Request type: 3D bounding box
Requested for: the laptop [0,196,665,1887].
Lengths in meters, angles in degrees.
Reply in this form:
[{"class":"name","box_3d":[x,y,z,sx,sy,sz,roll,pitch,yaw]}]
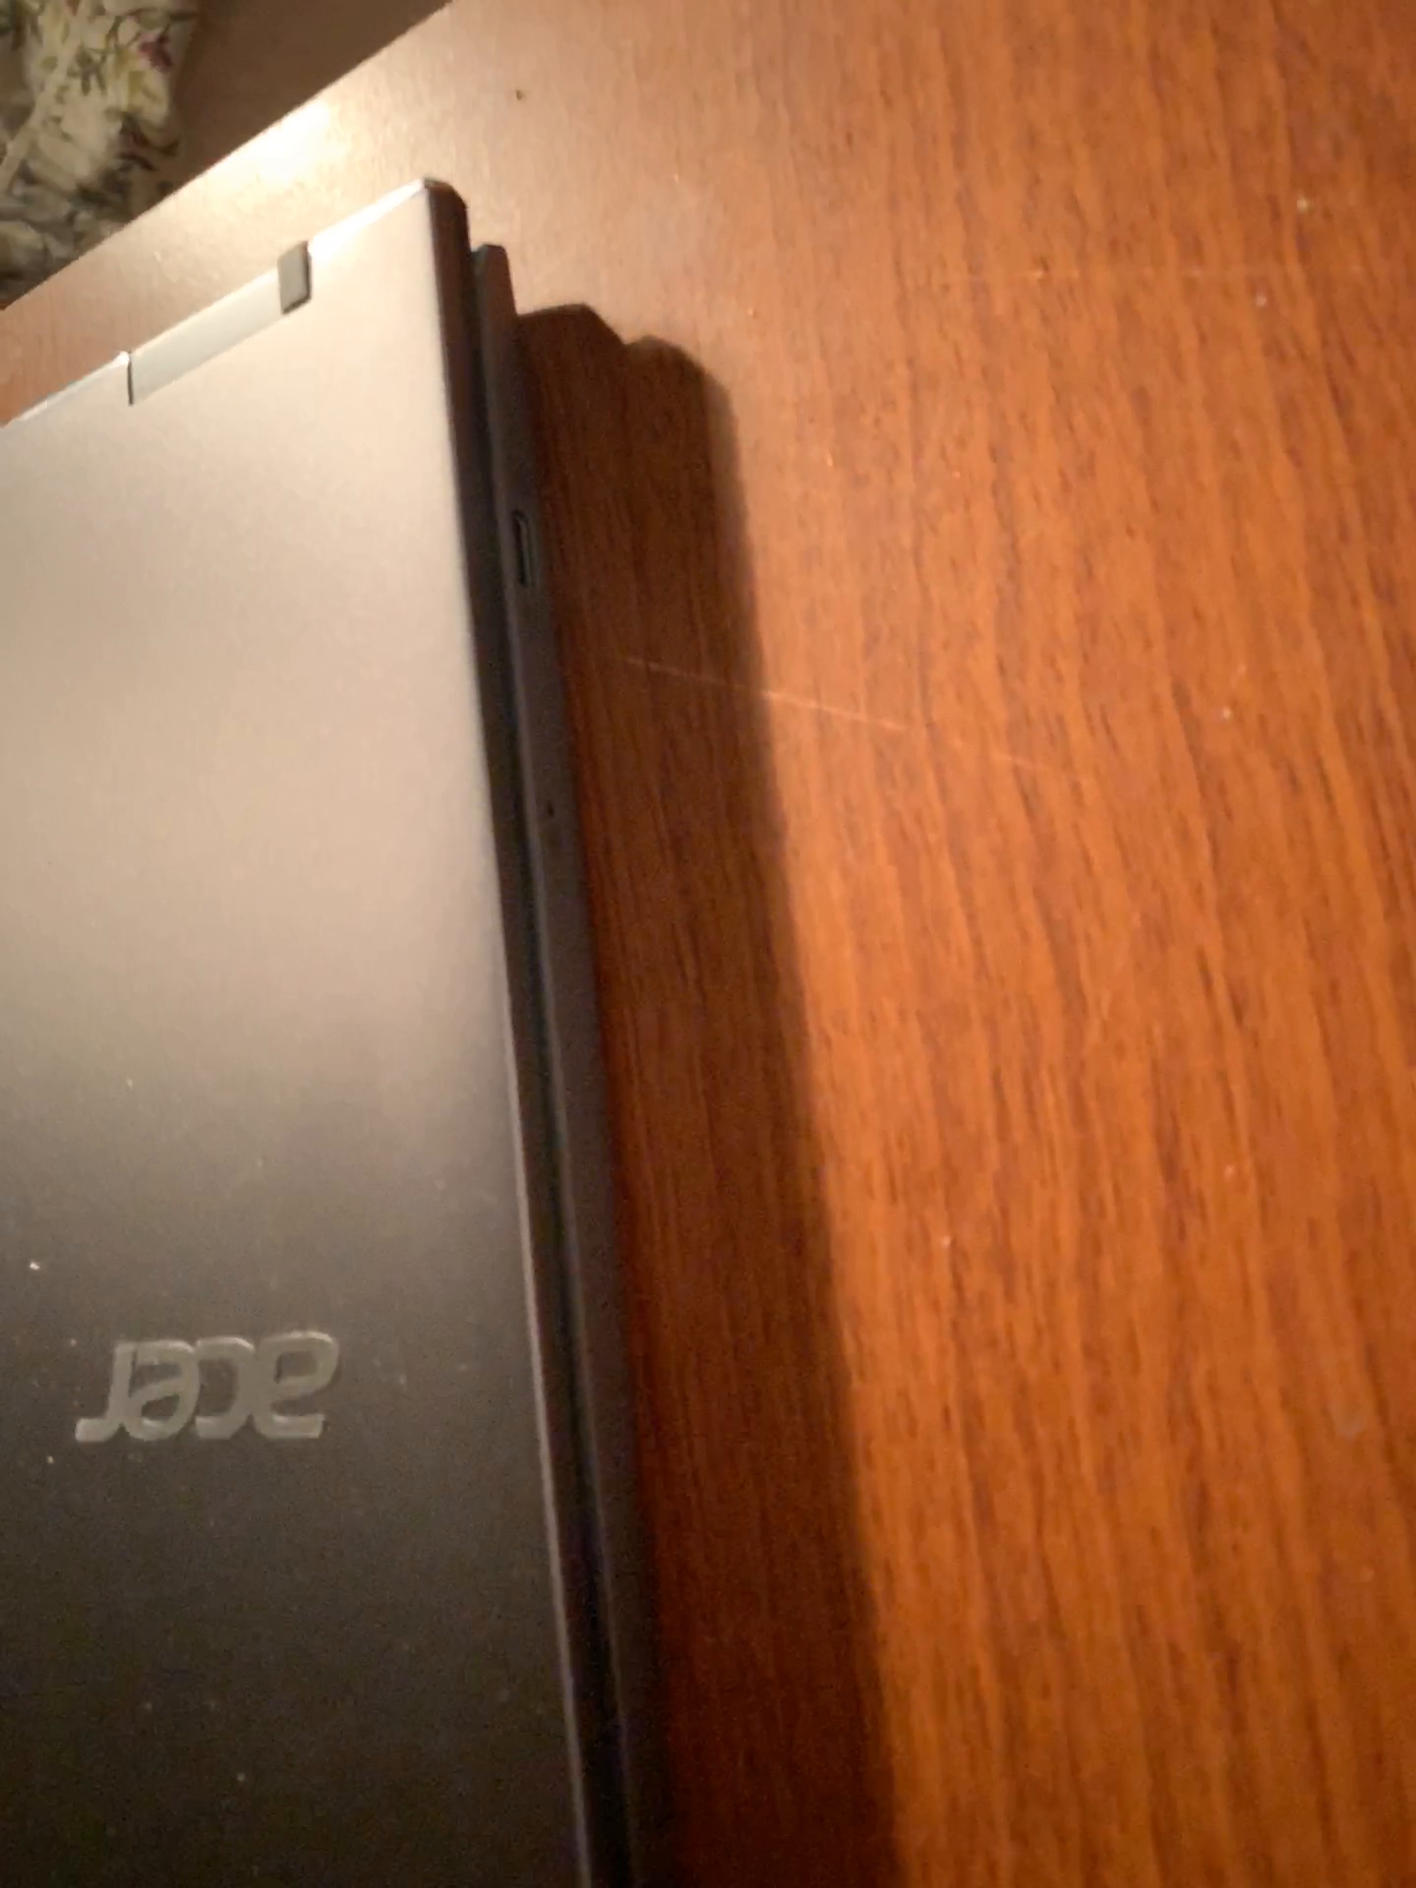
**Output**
[{"class":"laptop","box_3d":[-0.143,0.064,0.207,0.300,0.002,0.232,-12,79,31]}]
